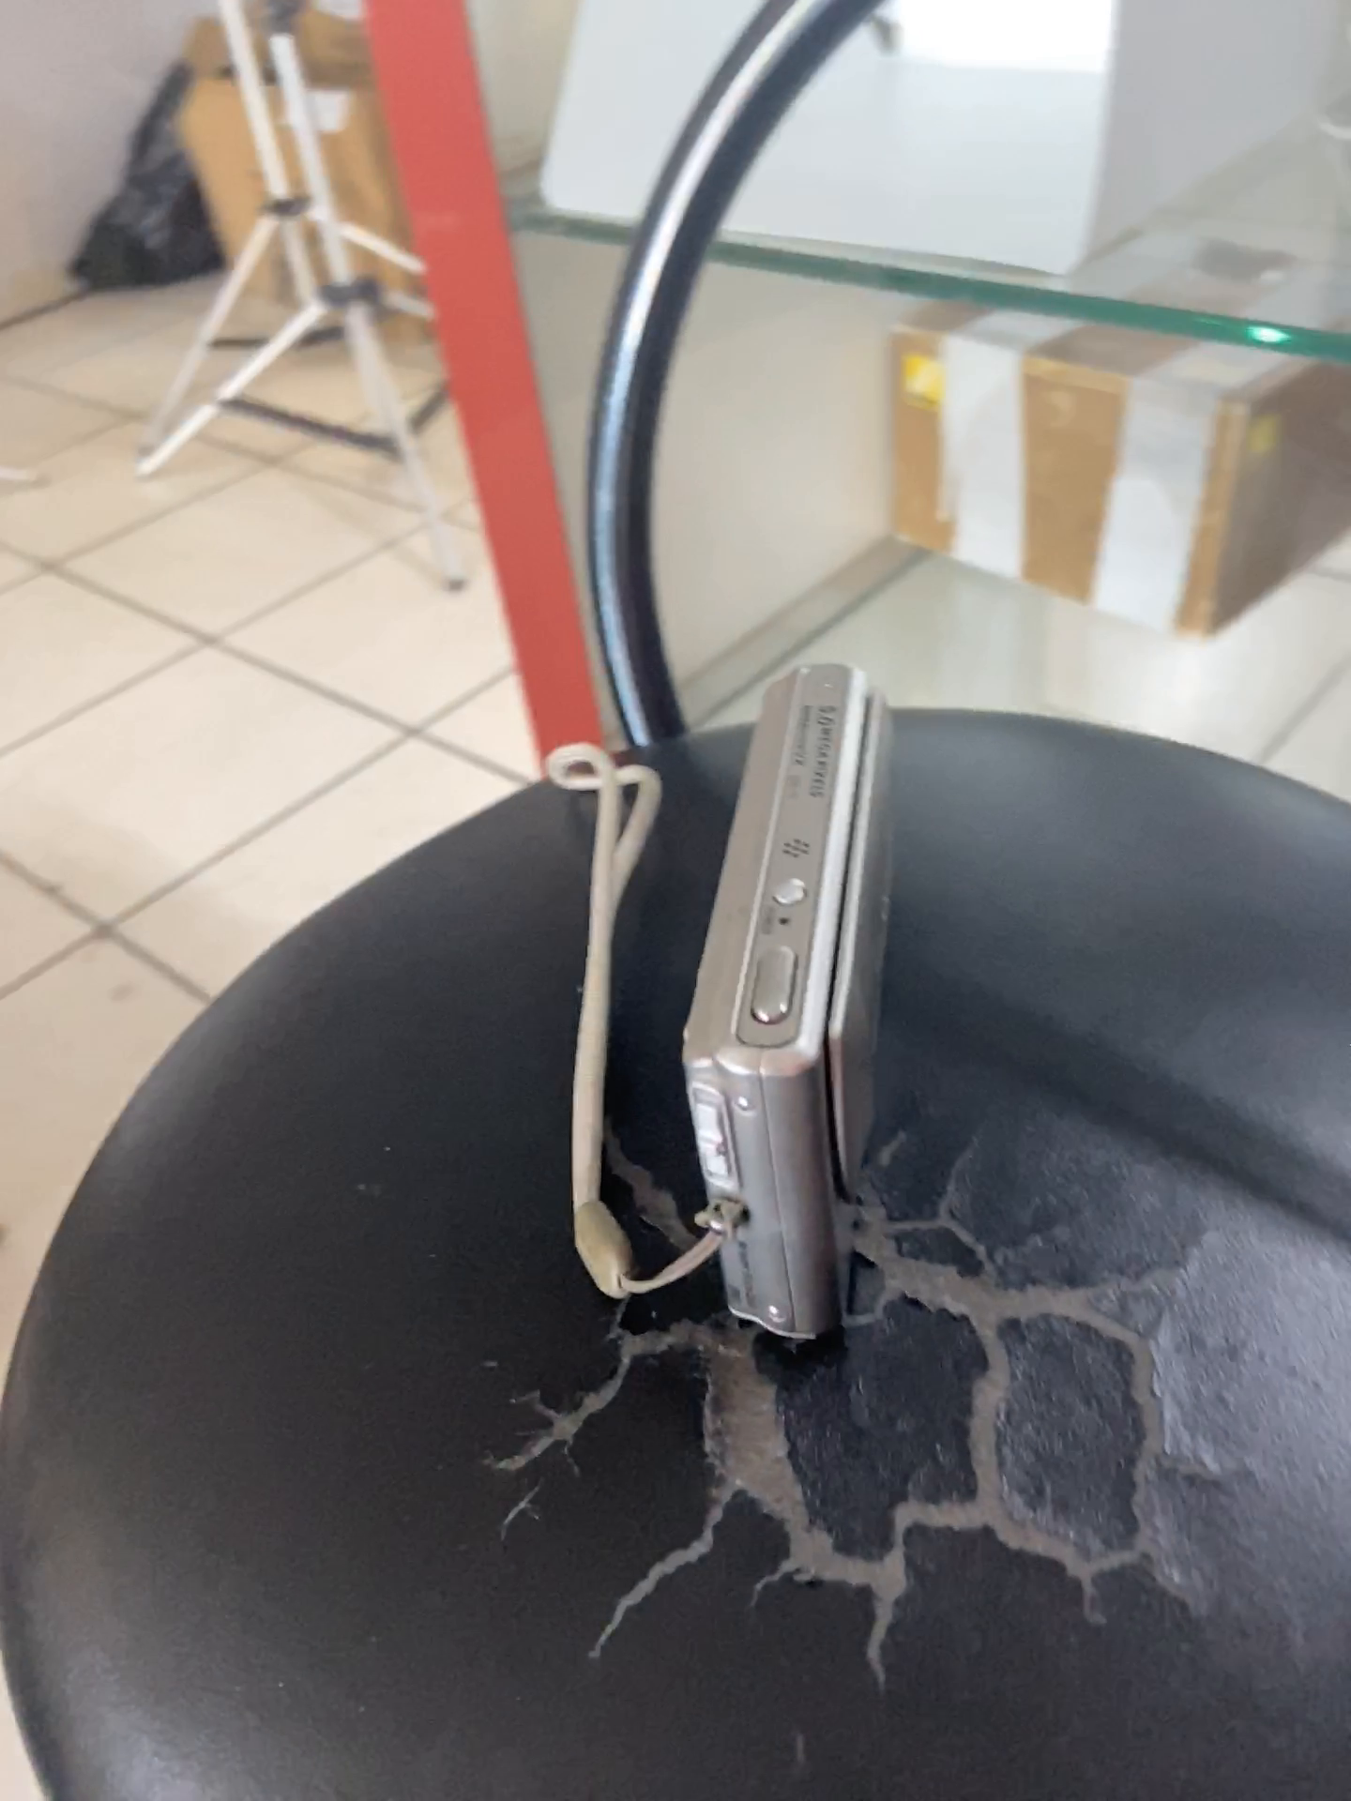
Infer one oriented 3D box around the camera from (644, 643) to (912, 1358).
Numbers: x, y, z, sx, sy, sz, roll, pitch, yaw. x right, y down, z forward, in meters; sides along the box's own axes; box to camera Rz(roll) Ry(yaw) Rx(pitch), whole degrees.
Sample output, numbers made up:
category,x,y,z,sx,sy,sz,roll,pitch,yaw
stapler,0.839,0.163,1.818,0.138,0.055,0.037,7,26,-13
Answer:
category,x,y,z,sx,sy,sz,roll,pitch,yaw
camera,0.022,0.011,0.226,0.030,0.060,0.101,0,41,11
